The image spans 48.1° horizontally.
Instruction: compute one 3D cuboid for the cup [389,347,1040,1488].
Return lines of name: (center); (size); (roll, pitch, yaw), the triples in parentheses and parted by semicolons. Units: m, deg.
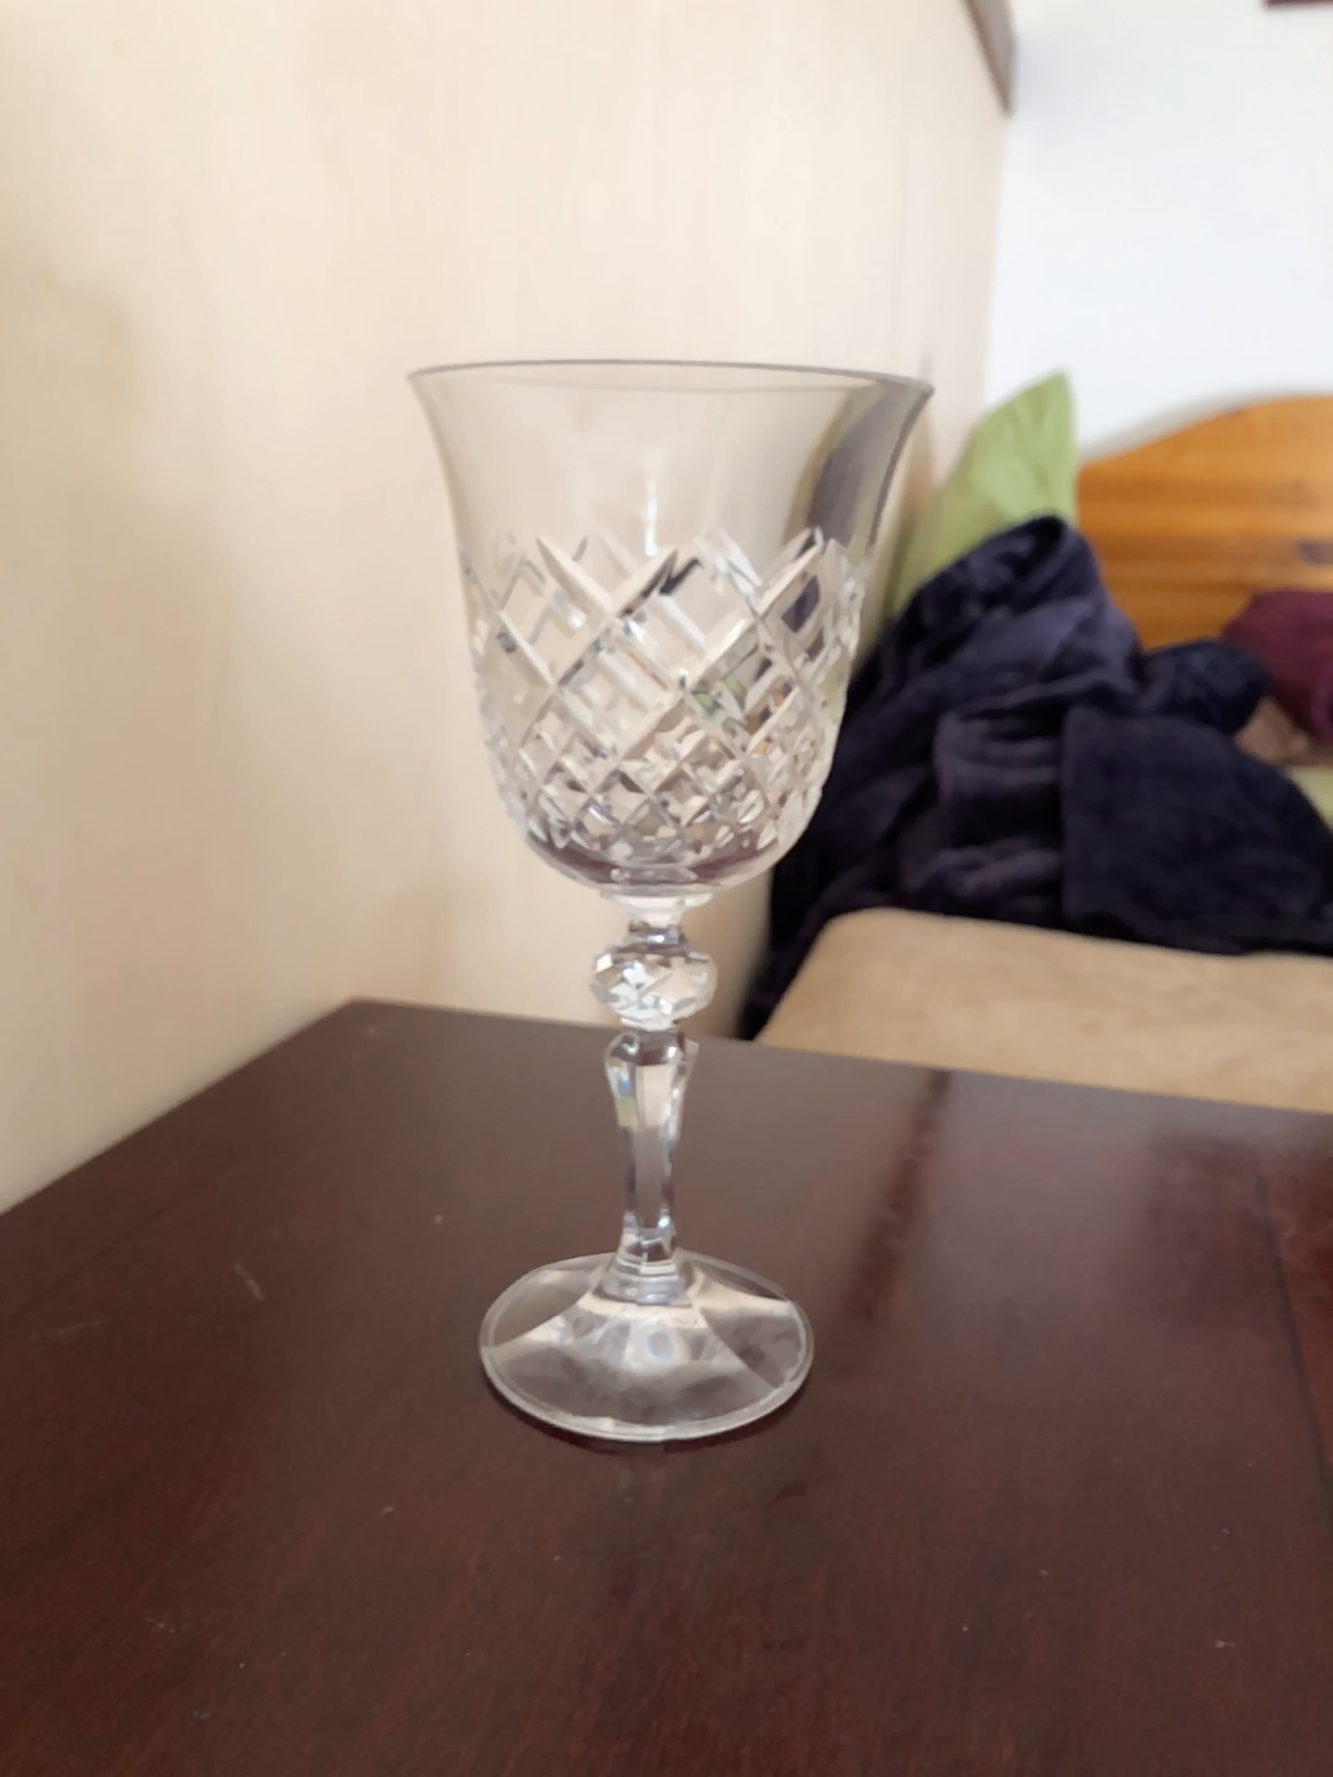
cup: (-0.002, 0.000, 0.268); (0.092, 0.171, 0.092); (1, 13, 0)
